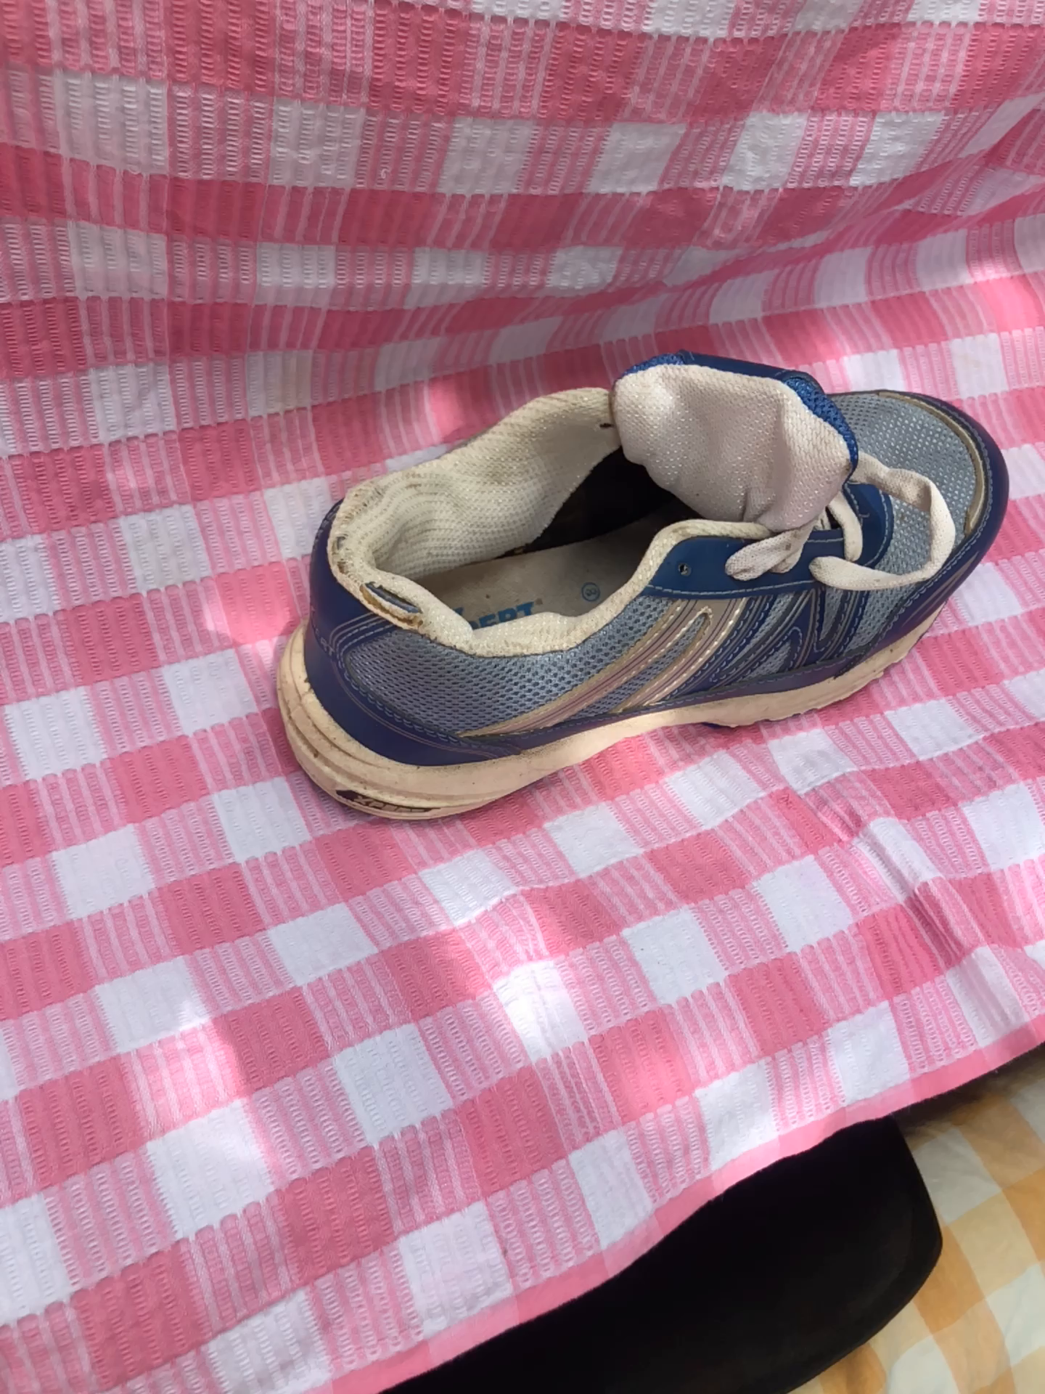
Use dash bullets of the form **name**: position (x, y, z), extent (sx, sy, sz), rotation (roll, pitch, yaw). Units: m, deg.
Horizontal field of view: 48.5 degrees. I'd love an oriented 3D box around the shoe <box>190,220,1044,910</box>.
- **shoe**: position (0.055, -0.050, 0.371), extent (0.281, 0.100, 0.110), rotation (-19, 61, -18)
